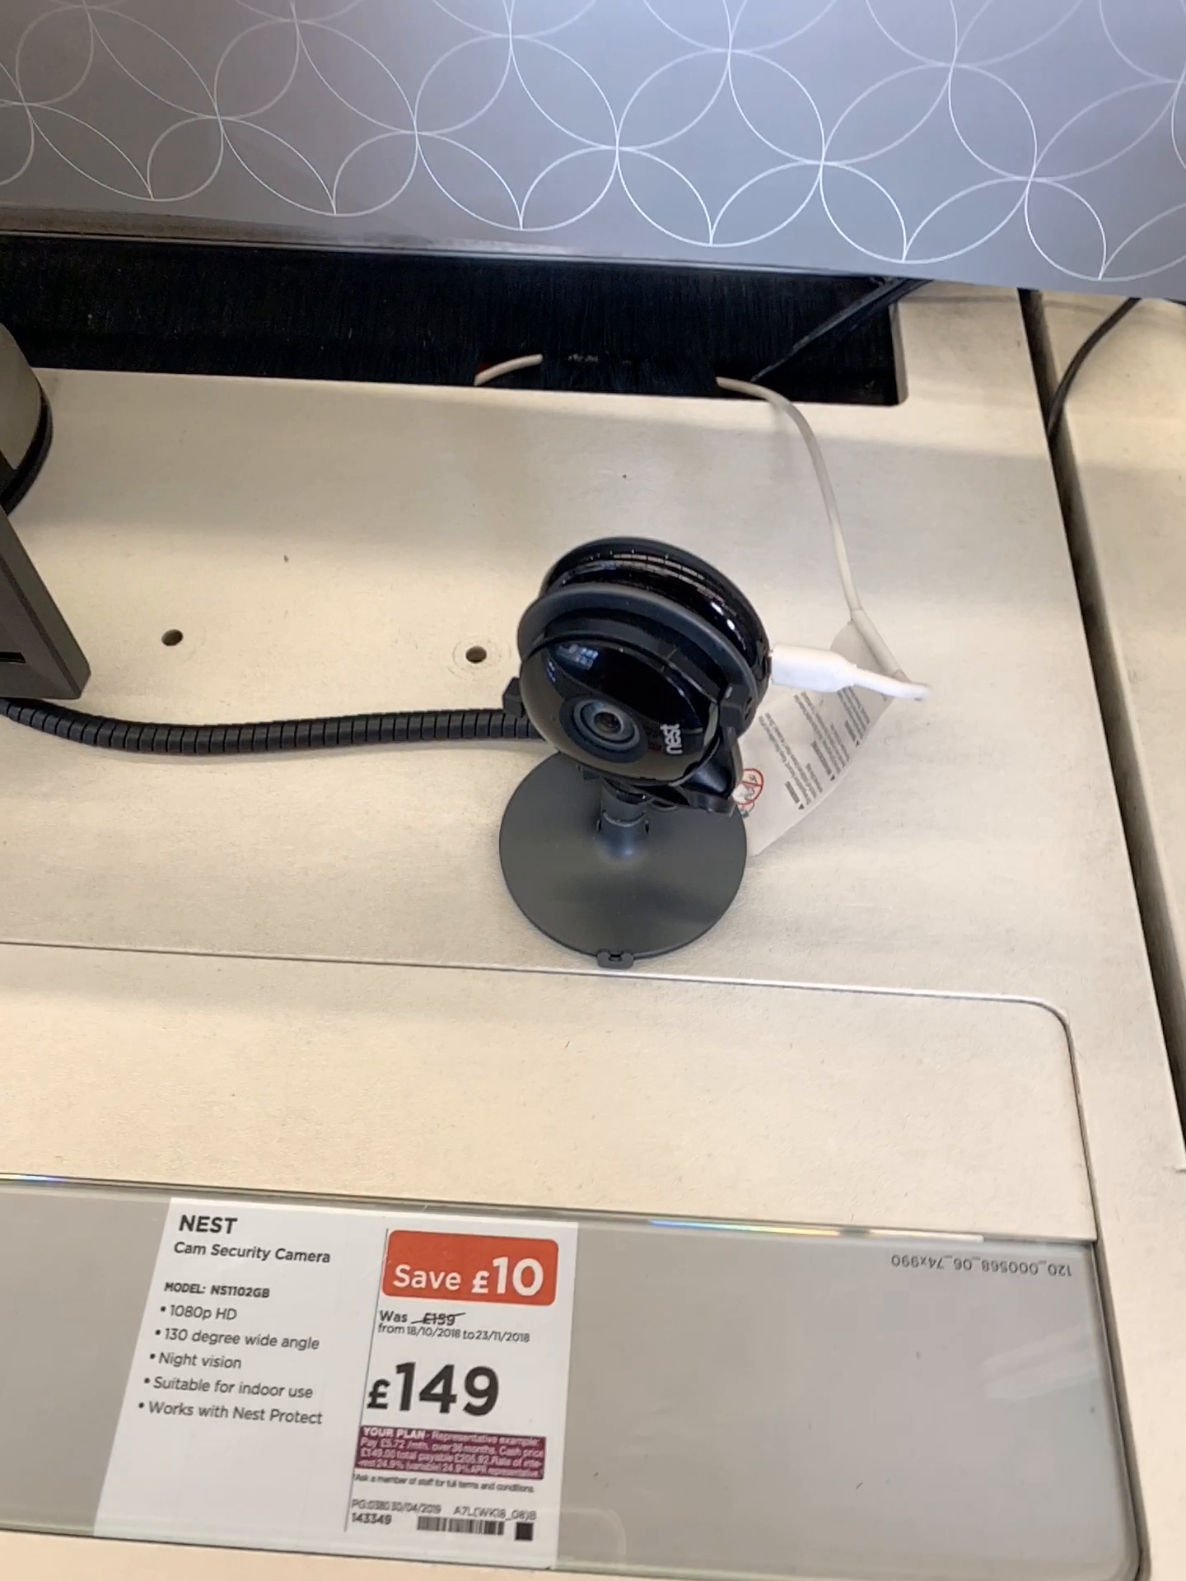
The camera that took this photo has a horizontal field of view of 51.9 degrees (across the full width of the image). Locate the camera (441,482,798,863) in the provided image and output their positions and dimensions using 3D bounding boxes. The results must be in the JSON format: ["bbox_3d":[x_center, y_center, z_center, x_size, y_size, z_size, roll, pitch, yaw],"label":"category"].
[{"bbox_3d":[0.006,-0.026,0.274,0.060,0.050,0.050,19,60,11],"label":"camera"}]
